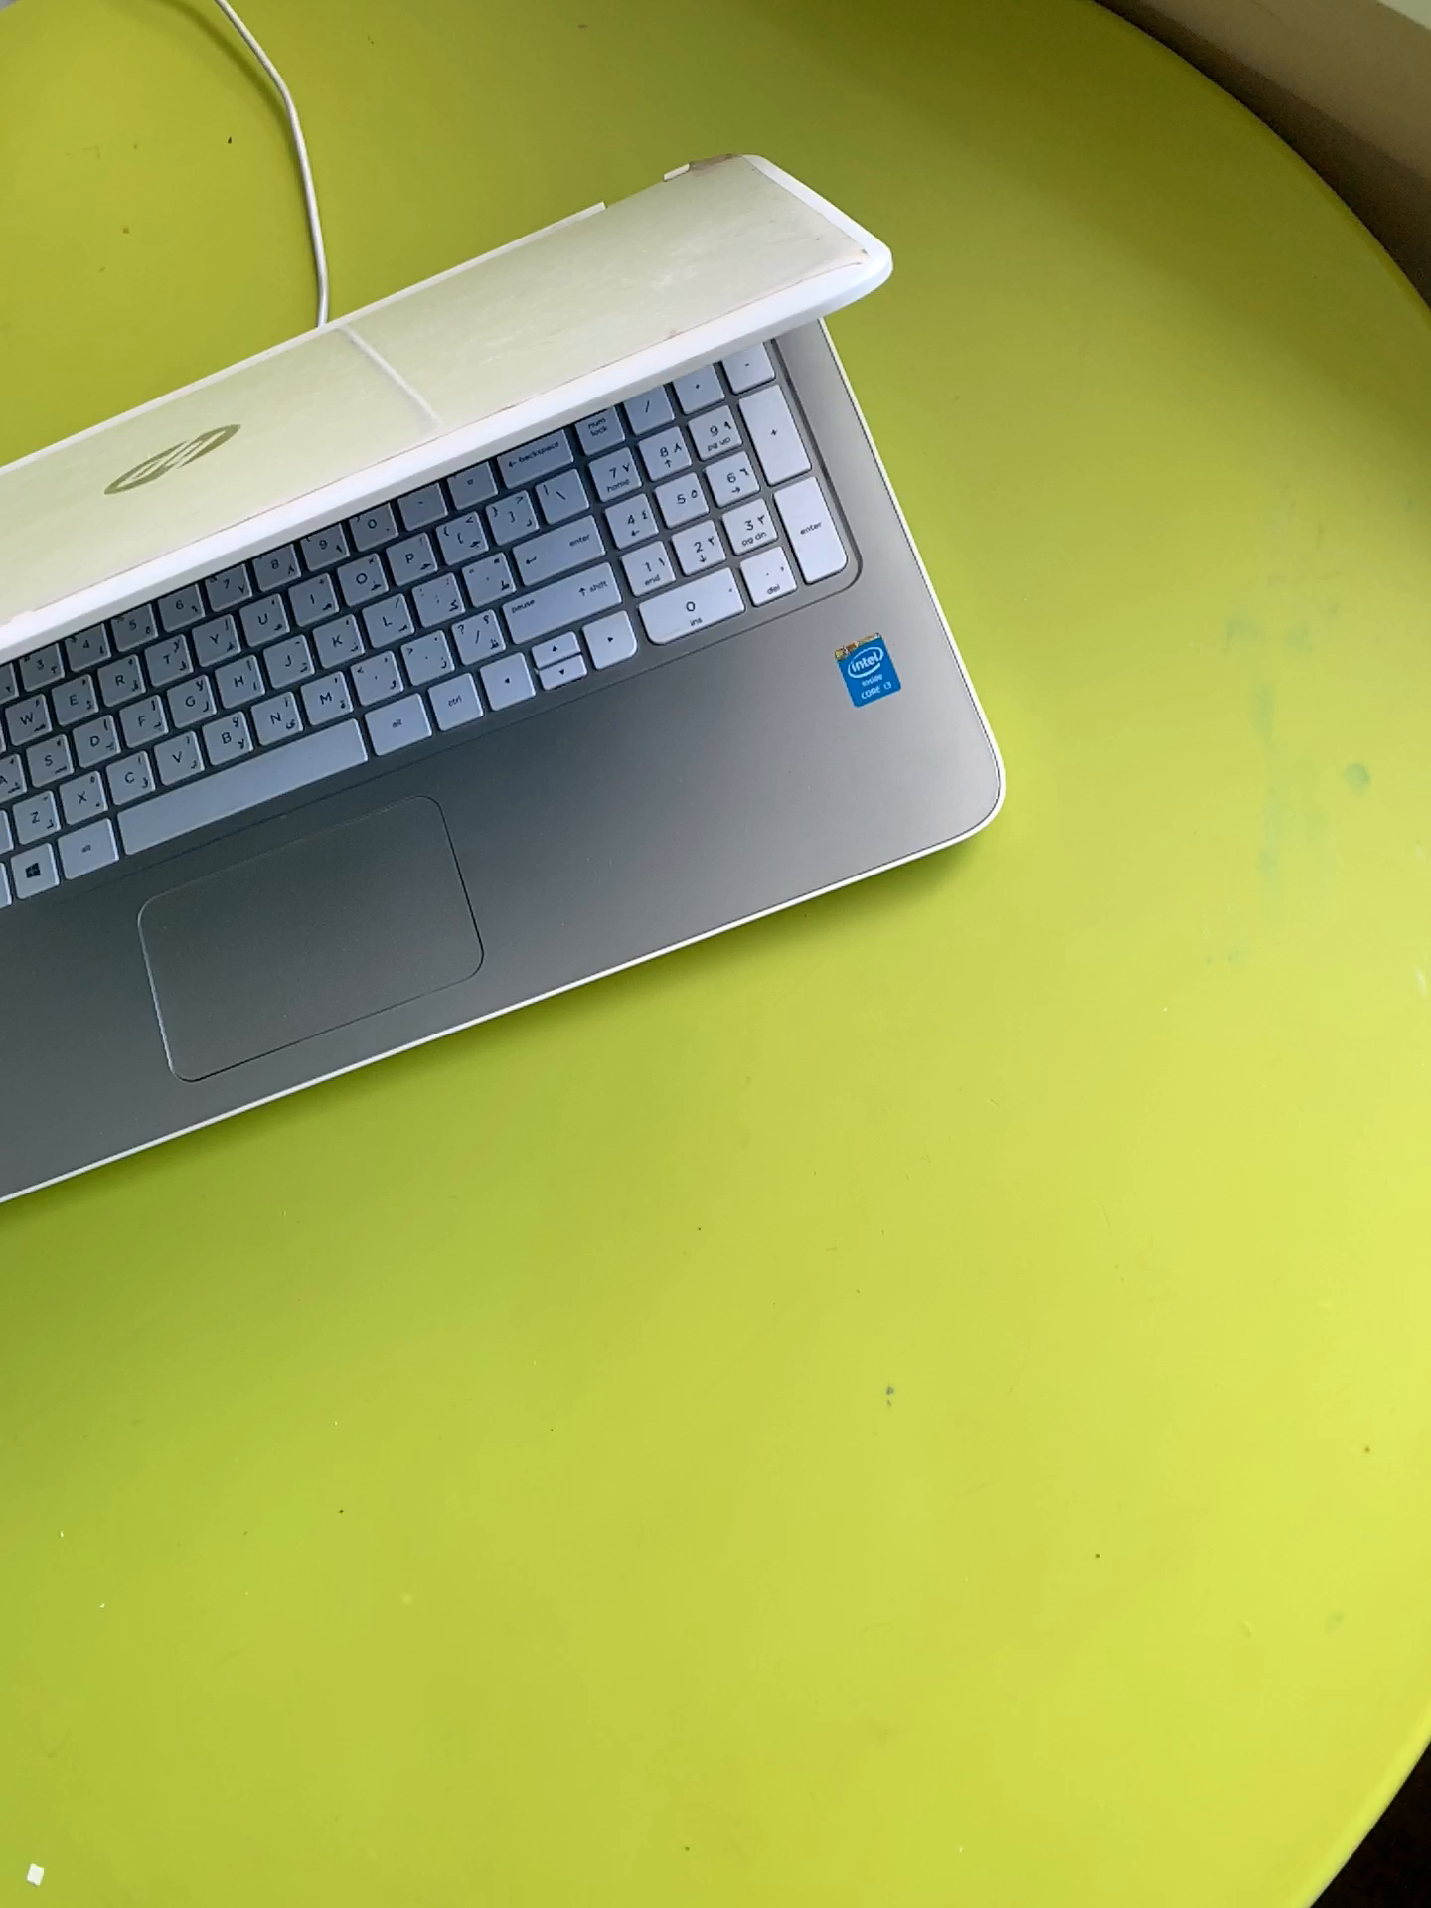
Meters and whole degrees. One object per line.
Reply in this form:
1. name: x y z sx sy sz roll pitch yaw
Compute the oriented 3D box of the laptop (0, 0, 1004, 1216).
1. laptop: -0.139 -0.109 0.409 0.367 0.163 0.243 -21 74 6
